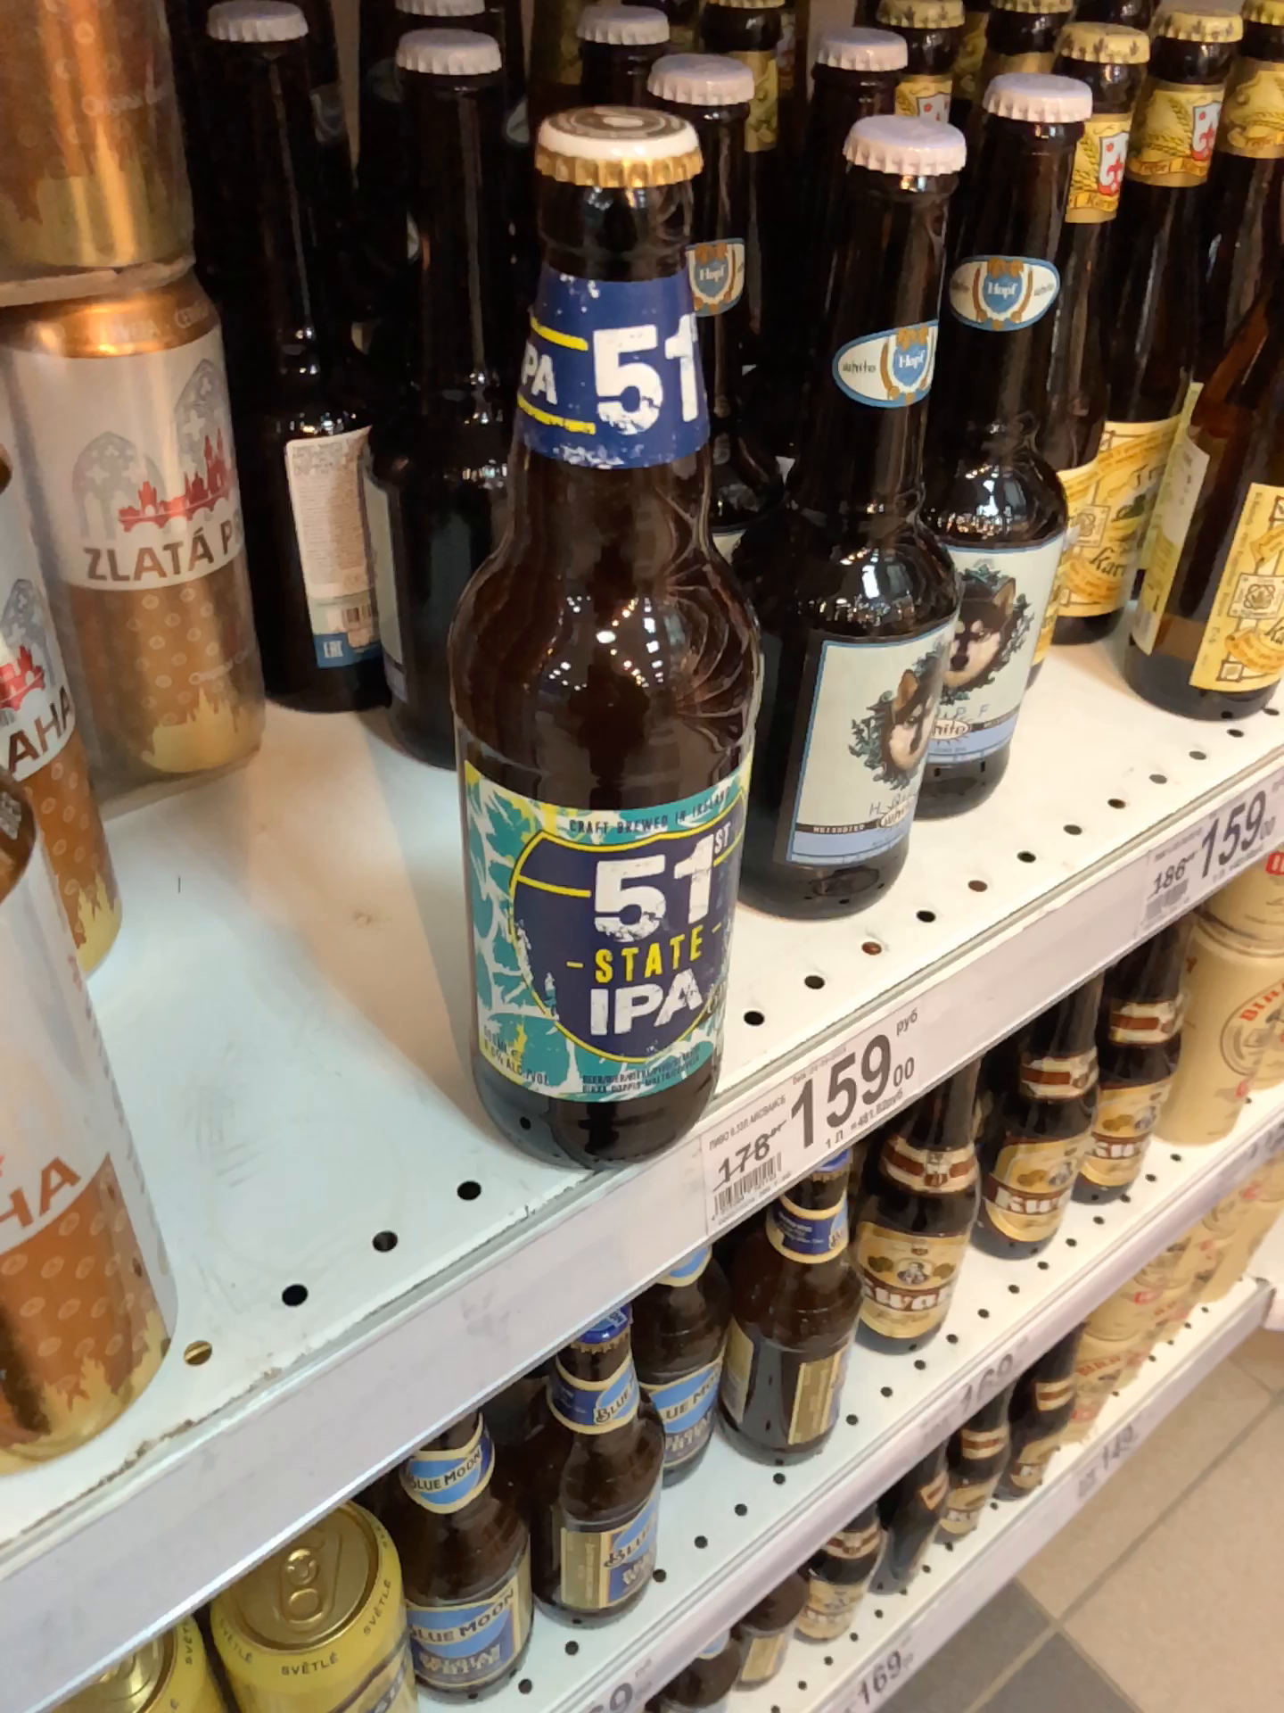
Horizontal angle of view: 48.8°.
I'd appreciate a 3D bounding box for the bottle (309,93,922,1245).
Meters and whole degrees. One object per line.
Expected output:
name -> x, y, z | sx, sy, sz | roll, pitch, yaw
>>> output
bottle -> -0.012, -0.027, 0.316 | 0.080, 0.238, 0.070 | -19, 44, -25
